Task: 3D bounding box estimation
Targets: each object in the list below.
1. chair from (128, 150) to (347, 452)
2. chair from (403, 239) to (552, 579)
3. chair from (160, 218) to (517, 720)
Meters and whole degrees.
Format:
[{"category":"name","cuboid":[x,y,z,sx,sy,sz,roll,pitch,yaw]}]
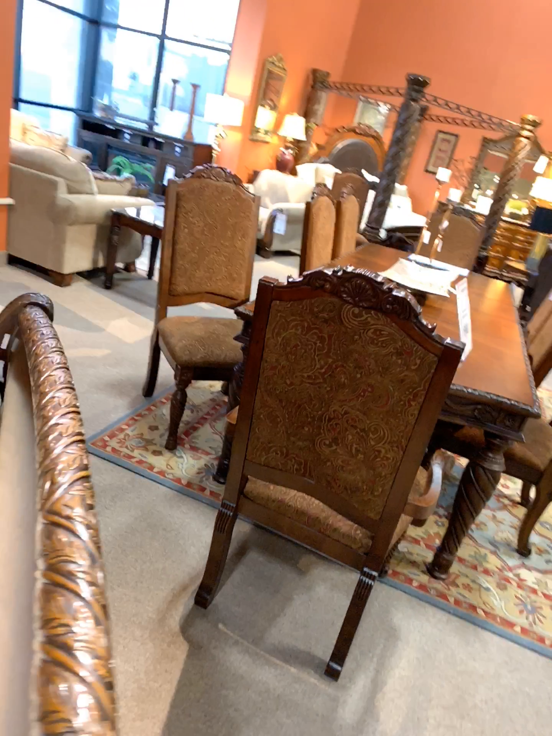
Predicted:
[{"category":"chair","cuboid":[-0.249,-0.304,2.653,0.604,1.184,0.671,2,25,-29]},{"category":"chair","cuboid":[1.058,0.130,2.323,0.619,1.134,0.565,22,23,17]},{"category":"chair","cuboid":[0.184,0.217,1.629,0.583,1.124,0.672,21,23,16]}]
